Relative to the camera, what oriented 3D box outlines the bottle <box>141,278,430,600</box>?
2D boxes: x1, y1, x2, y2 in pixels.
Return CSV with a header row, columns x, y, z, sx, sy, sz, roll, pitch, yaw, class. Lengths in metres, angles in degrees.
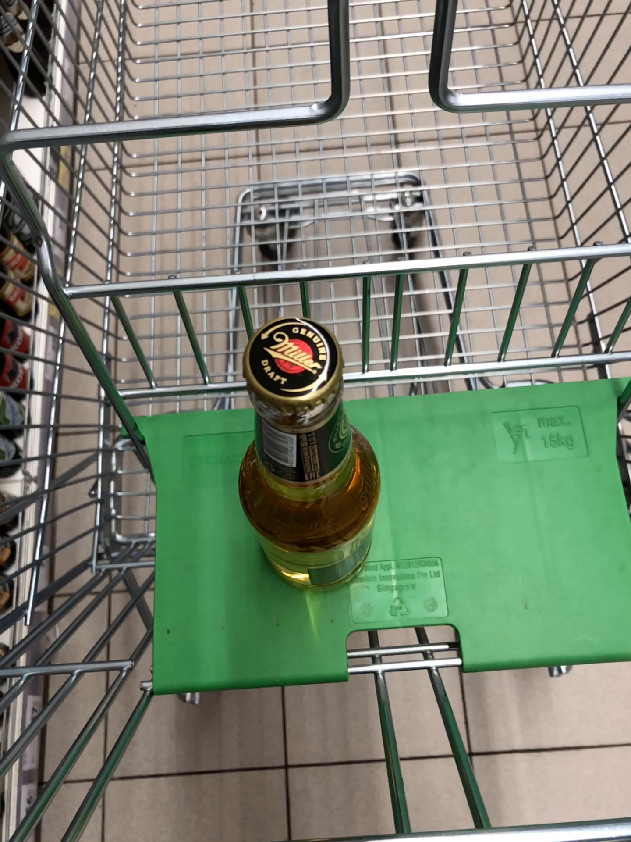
x,y,z,sx,sy,sz,roll,pitch,yaw,class
-0.002,0.028,0.280,0.070,0.210,0.070,-1,72,3,bottle
